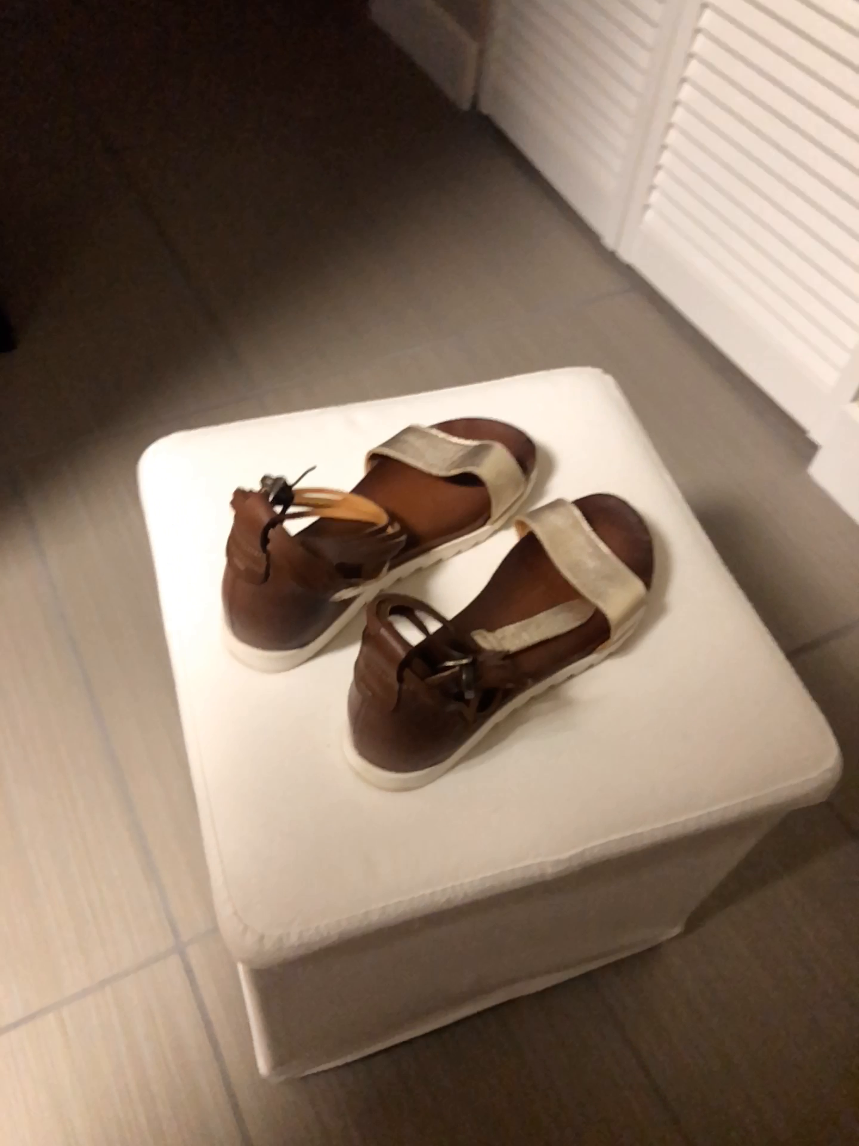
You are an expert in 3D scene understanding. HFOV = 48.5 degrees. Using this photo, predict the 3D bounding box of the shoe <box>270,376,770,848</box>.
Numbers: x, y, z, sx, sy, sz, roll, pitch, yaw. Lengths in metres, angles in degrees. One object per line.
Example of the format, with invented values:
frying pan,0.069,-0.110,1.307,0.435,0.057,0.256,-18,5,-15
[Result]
shoe,0.053,0.010,0.523,0.261,0.090,0.110,-35,64,-28

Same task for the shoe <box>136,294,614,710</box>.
shoe,-0.024,-0.053,0.569,0.261,0.090,0.110,-35,64,-28
